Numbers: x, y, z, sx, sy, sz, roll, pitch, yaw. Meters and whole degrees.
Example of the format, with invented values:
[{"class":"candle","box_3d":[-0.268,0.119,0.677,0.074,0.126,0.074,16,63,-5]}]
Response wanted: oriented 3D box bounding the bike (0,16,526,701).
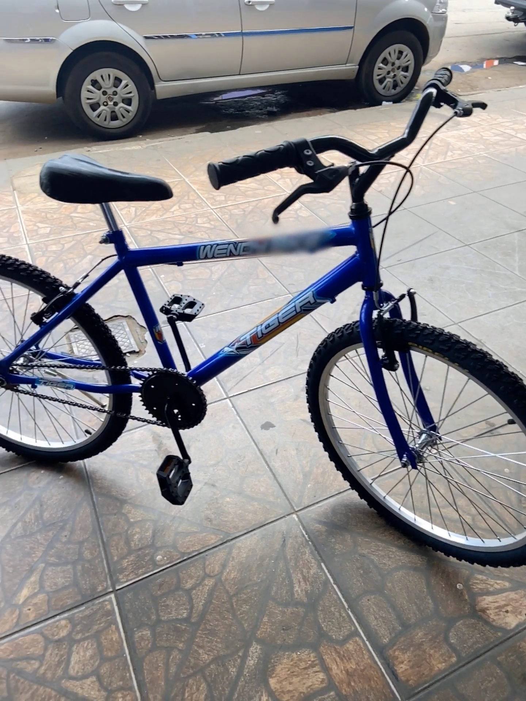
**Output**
[{"class":"bike","box_3d":[-0.162,-0.030,1.051,1.487,0.923,0.626,9,42,16]}]
